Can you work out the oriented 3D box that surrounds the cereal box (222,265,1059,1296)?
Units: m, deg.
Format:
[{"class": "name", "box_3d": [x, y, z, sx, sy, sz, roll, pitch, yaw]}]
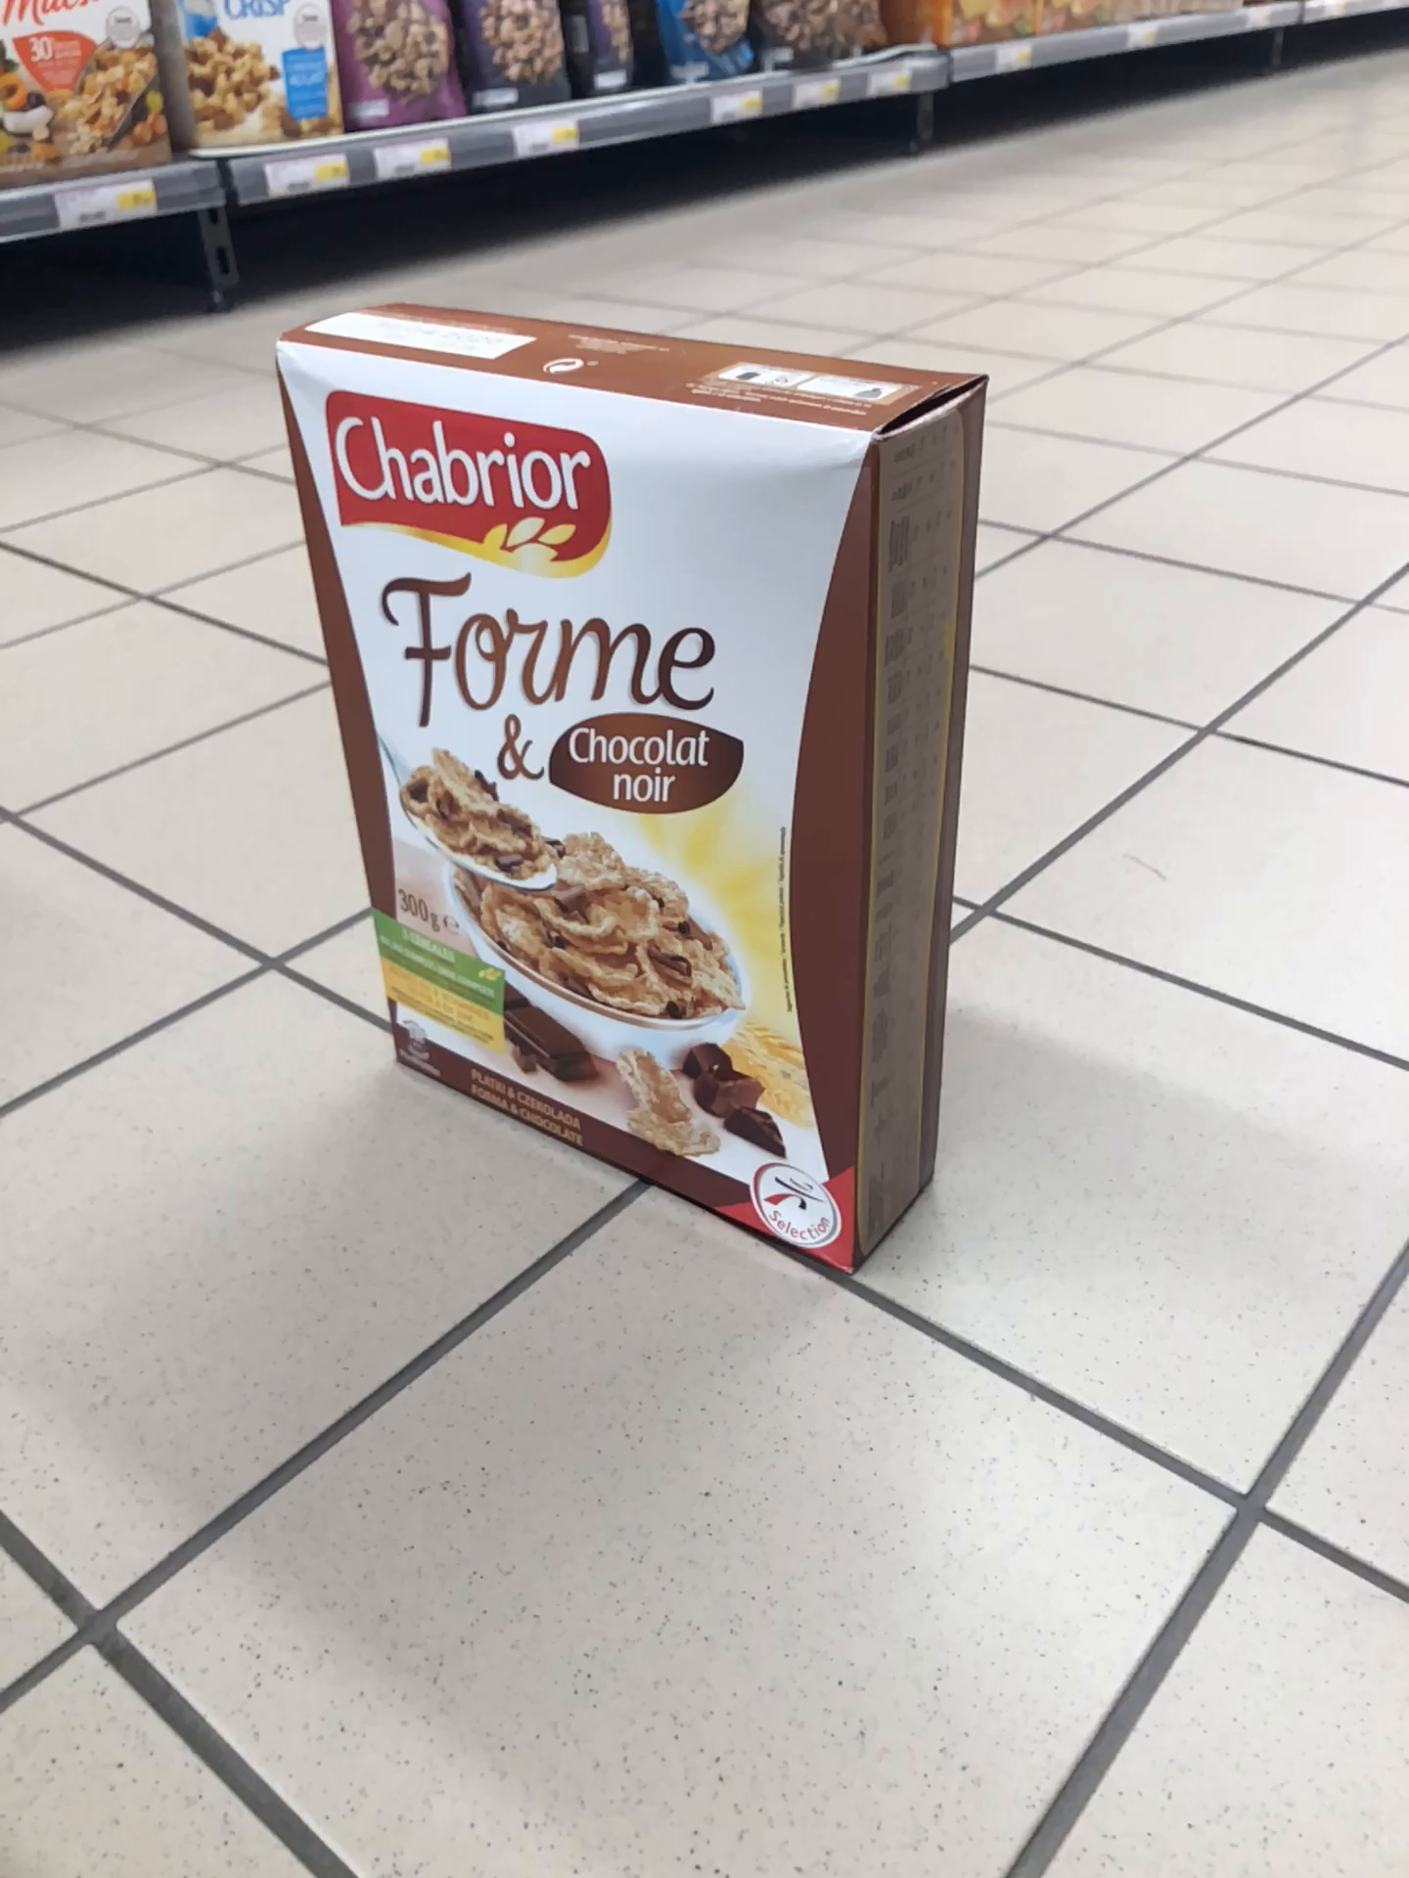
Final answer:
[{"class": "cereal box", "box_3d": [-0.019, -0.050, 0.454, 0.210, 0.249, 0.070, 20, 38, 31]}]
